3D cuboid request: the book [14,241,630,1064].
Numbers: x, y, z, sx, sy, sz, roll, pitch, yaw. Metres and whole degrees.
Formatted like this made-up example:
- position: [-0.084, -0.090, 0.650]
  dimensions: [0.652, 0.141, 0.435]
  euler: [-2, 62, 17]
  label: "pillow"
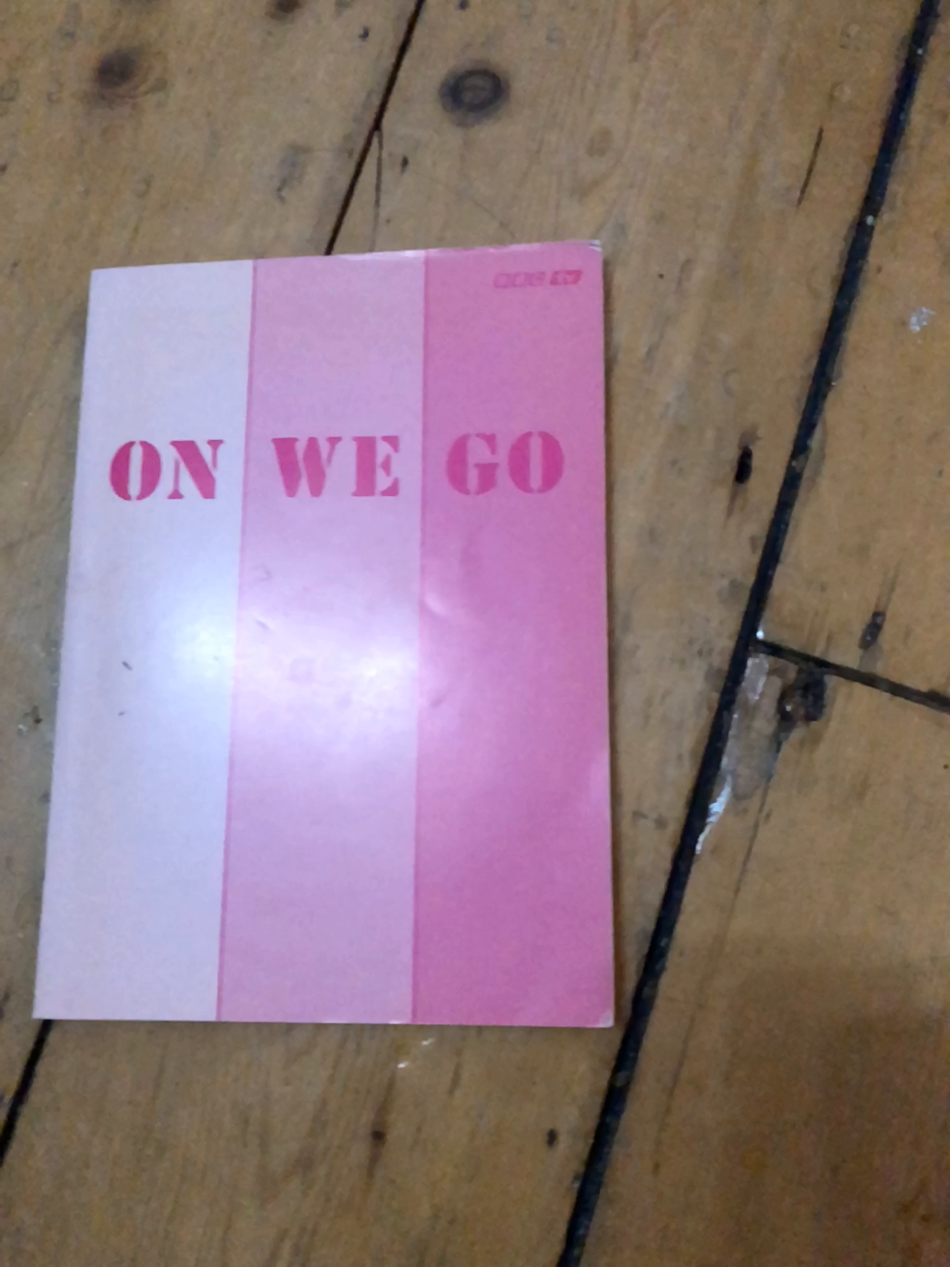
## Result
- position: [-0.040, 0.001, 0.296]
  dimensions: [0.160, 0.020, 0.220]
  euler: [-1, 80, 6]
  label: "book"
